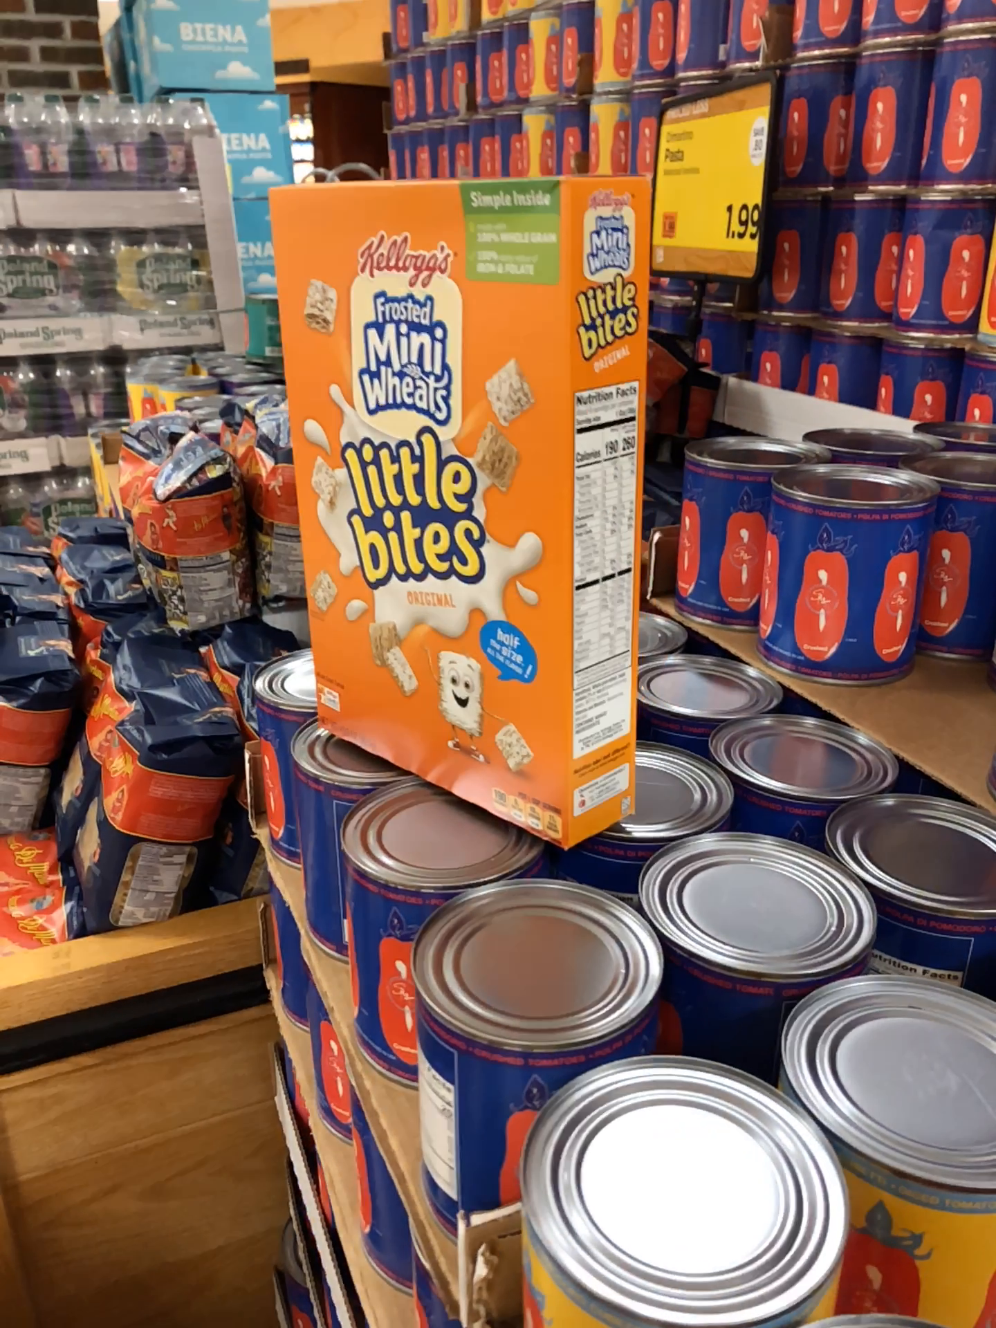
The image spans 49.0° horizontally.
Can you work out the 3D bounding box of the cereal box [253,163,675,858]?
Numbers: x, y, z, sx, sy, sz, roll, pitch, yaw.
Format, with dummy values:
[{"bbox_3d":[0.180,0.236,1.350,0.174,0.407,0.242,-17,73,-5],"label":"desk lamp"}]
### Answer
[{"bbox_3d":[-0.021,-0.080,0.528,0.200,0.288,0.060,20,30,40],"label":"cereal box"}]
